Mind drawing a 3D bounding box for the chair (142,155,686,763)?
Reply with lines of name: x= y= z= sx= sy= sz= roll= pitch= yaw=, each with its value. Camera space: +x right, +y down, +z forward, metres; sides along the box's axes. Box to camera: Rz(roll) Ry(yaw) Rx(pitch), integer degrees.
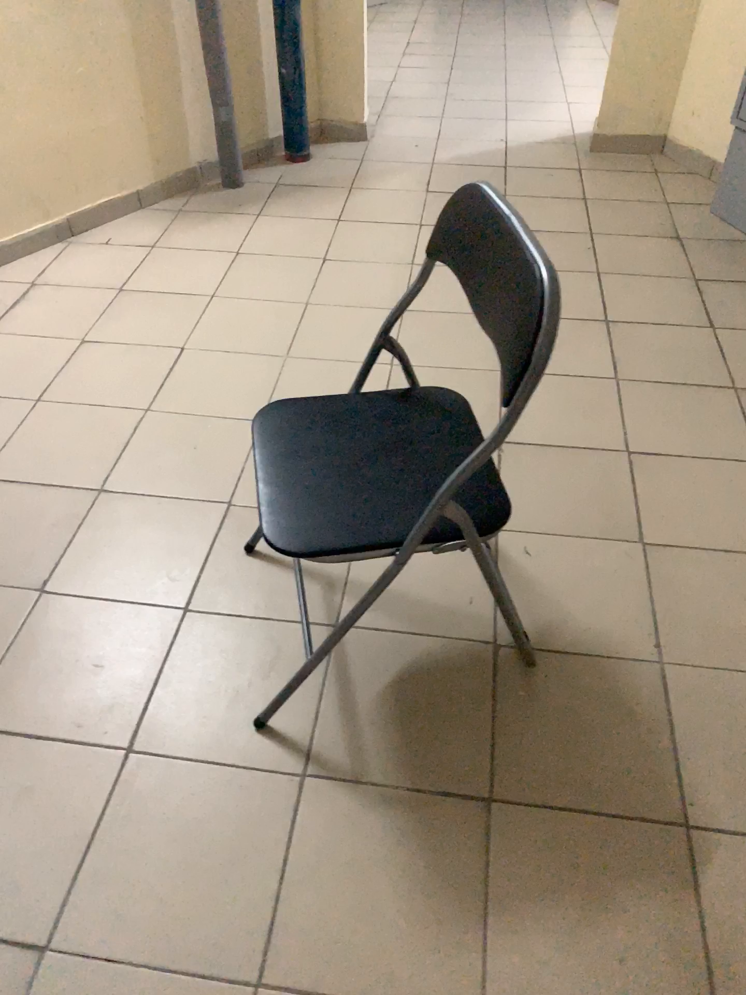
chair: x=0.012 y=-0.058 z=1.222 sx=0.560 sy=0.727 sz=0.573 roll=-6 pitch=43 yaw=-6
